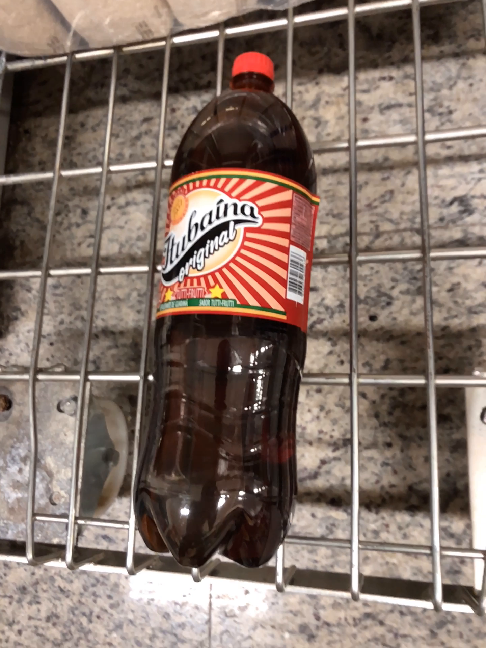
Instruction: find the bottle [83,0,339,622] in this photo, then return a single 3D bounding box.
[{"bbox_3d":[-0.010,-0.016,0.322,0.110,0.070,0.320,2,82,16],"label":"bottle"}]
